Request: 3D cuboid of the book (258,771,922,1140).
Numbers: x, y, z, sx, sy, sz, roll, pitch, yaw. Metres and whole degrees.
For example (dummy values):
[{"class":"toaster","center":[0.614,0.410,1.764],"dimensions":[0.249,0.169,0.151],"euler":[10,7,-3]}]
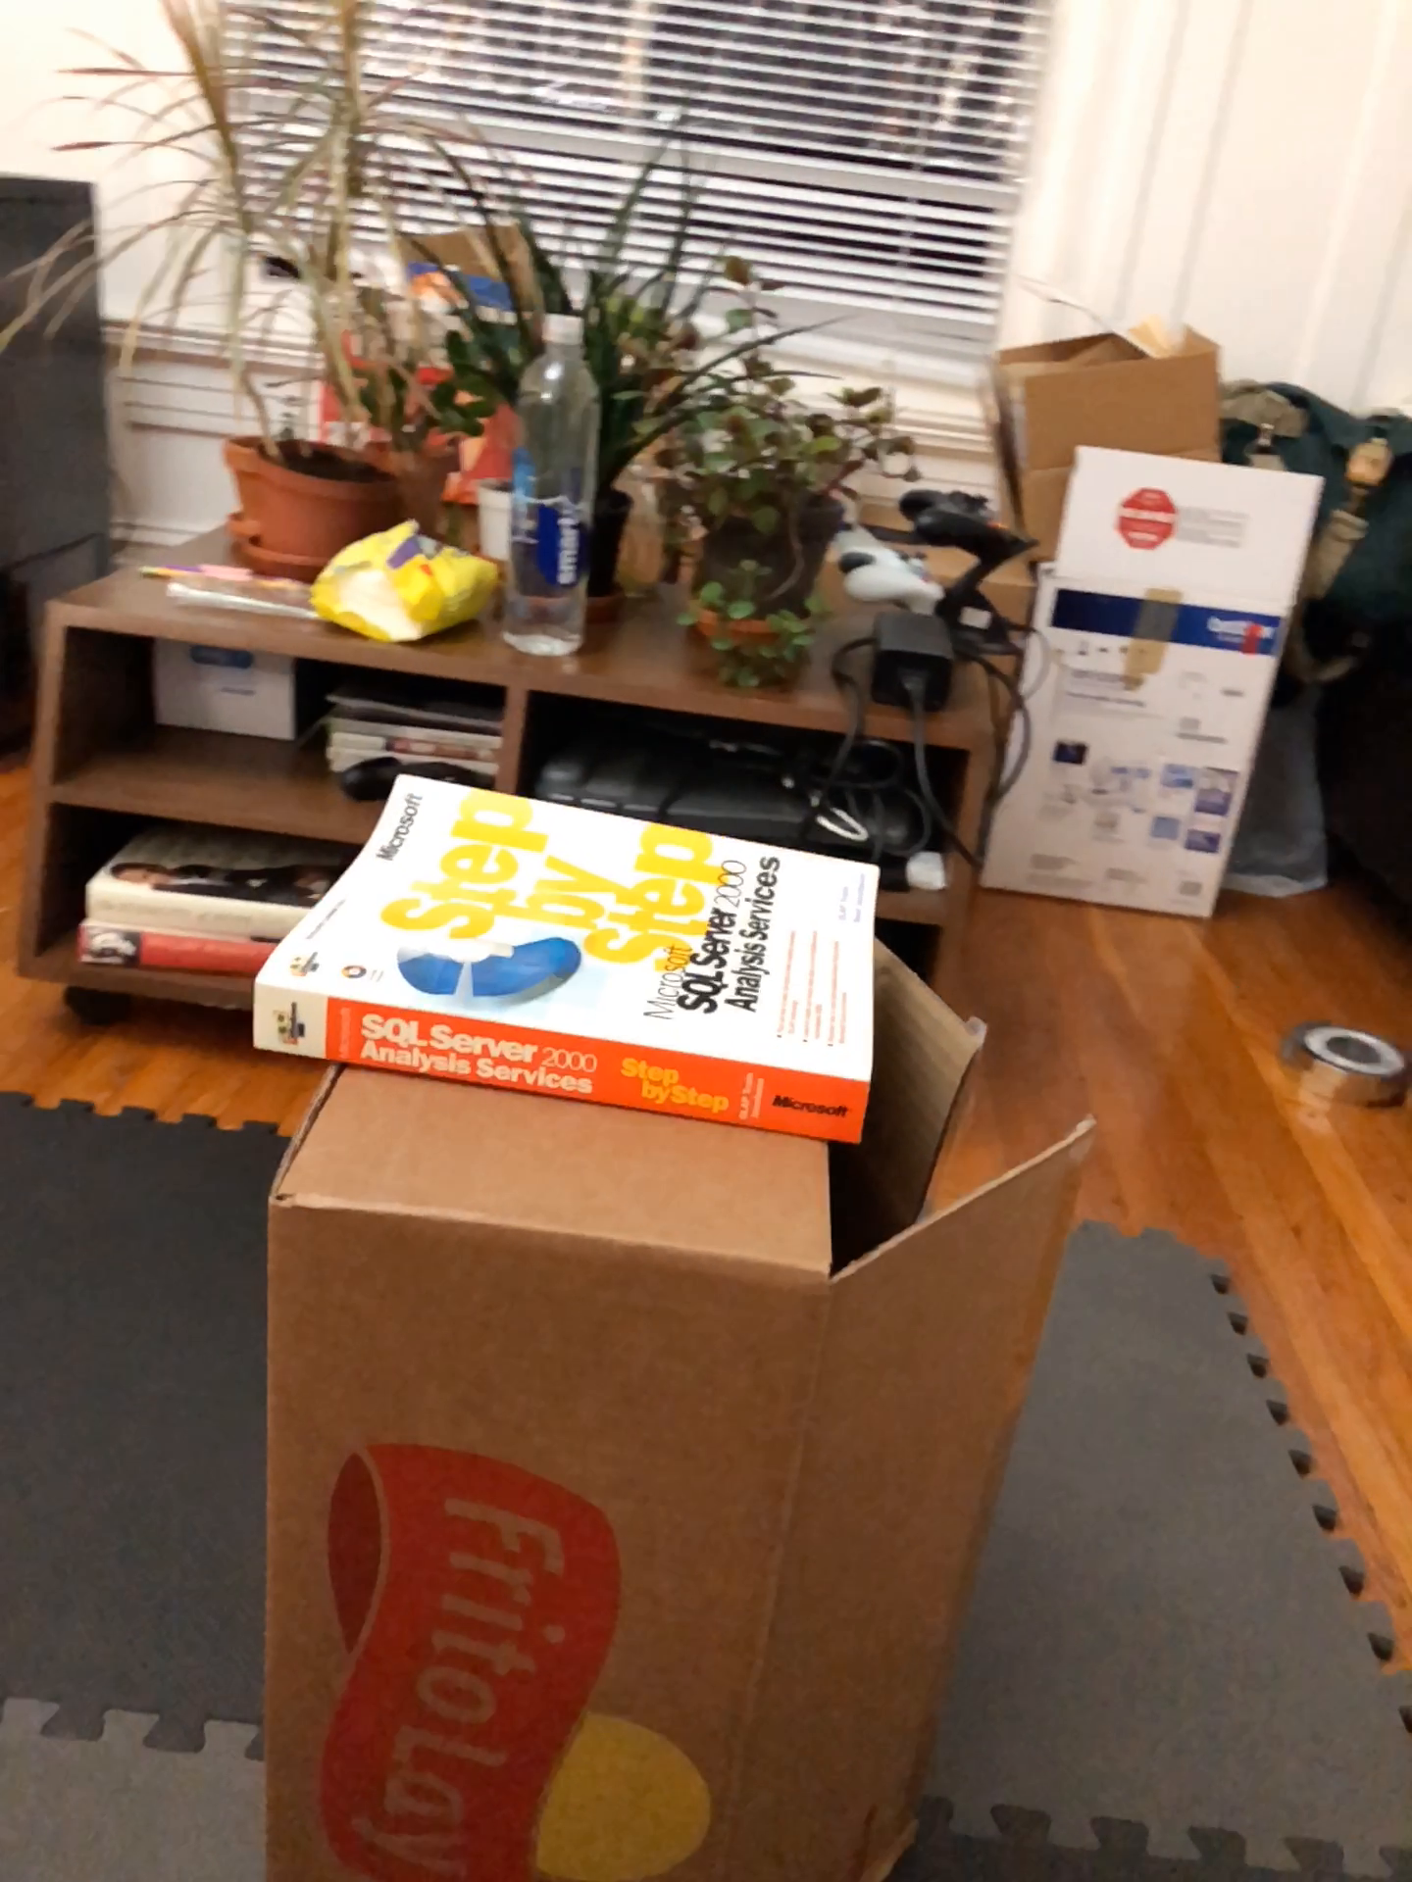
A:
[{"class":"book","center":[-0.040,-0.004,0.663],"dimensions":[0.240,0.050,0.201],"euler":[9,21,-1]}]
